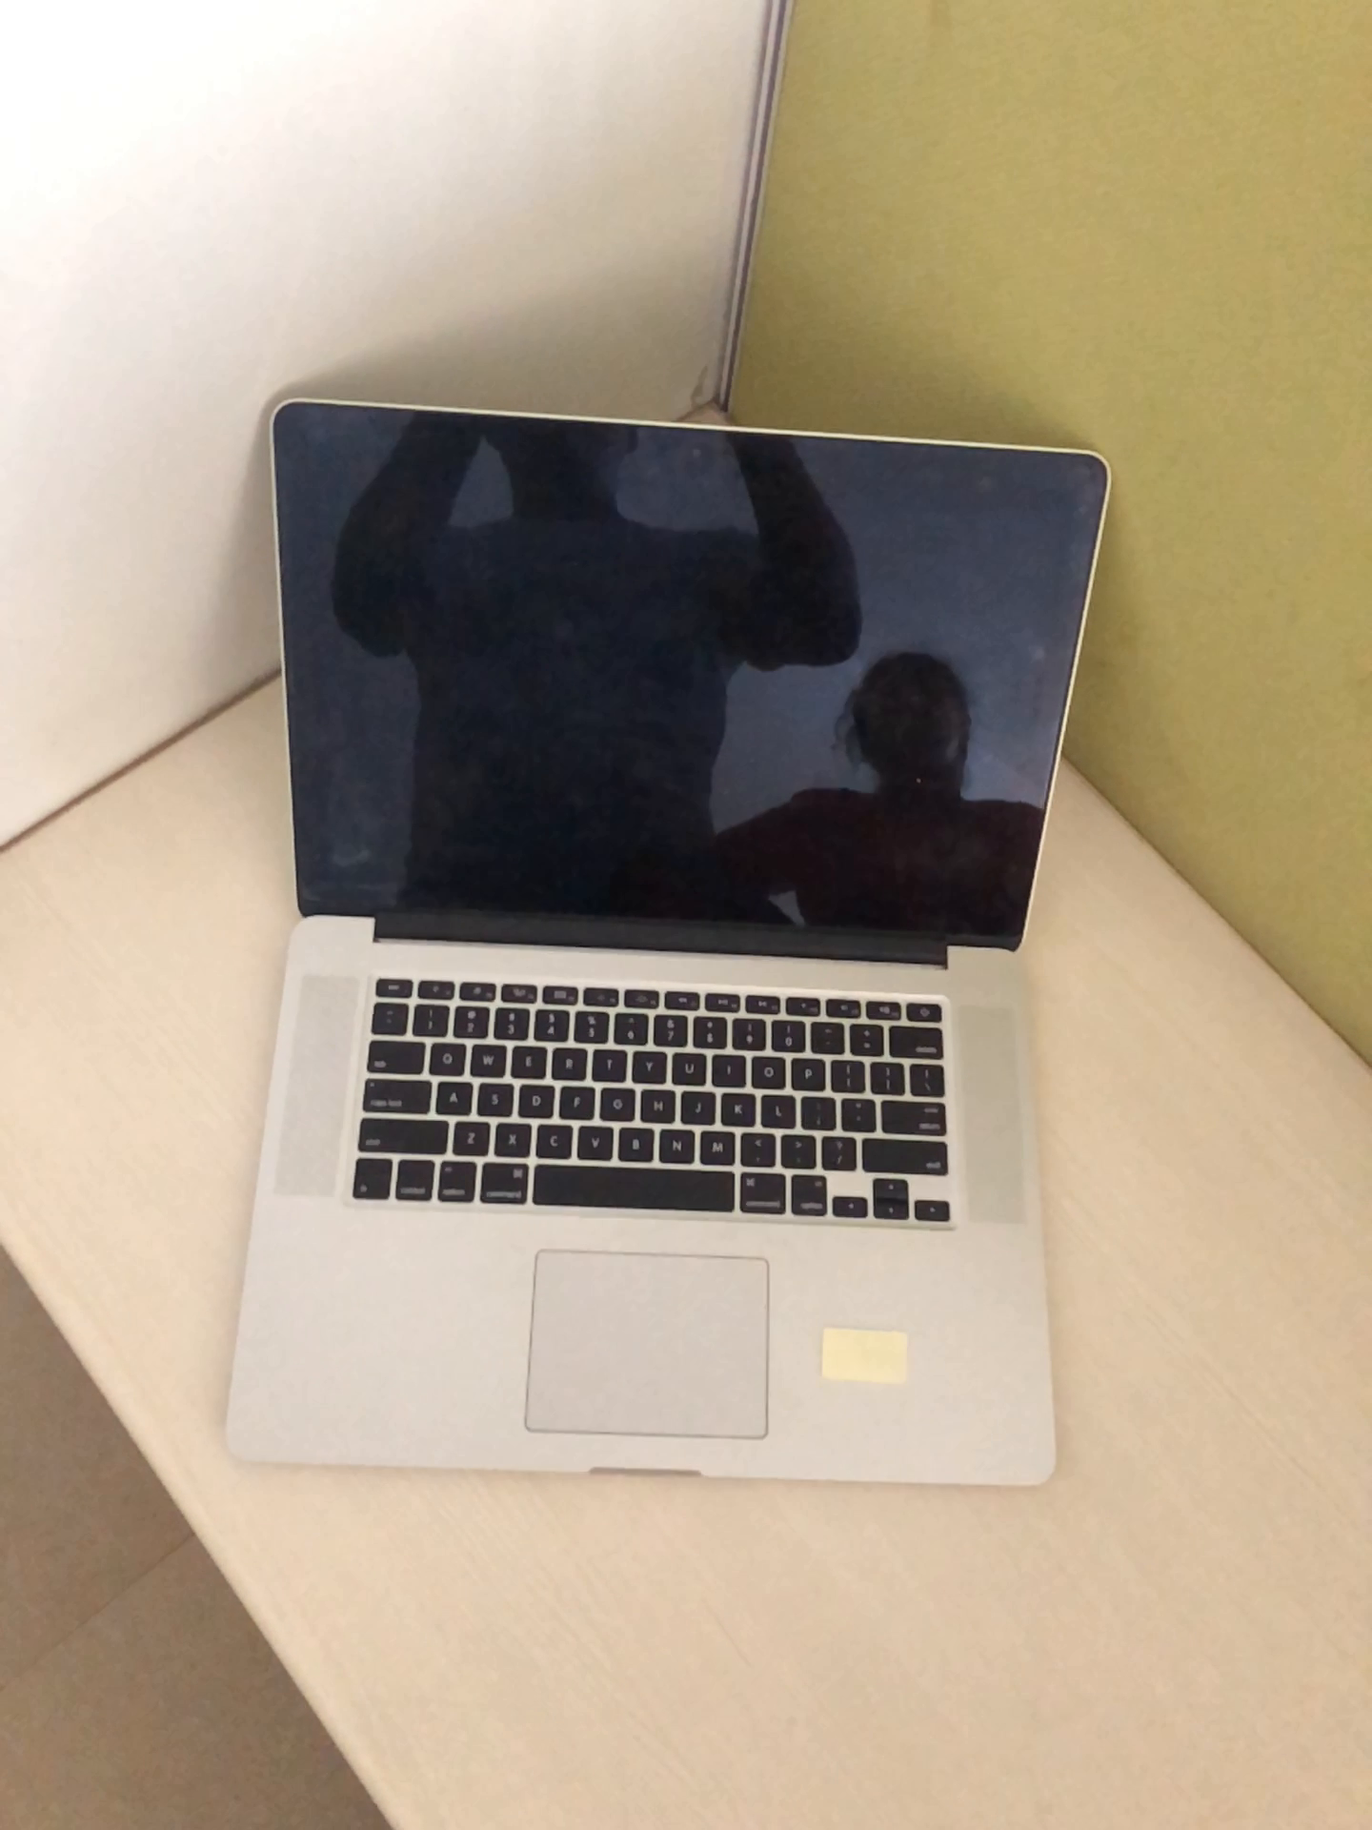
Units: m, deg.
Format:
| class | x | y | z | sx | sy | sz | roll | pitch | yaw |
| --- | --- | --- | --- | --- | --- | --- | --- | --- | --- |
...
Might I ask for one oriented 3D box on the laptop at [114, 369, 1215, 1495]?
| class | x | y | z | sx | sy | sz | roll | pitch | yaw |
| --- | --- | --- | --- | --- | --- | --- | --- | --- | --- |
| laptop | -0.006 | 0.014 | 0.613 | 0.345 | 0.164 | 0.404 | 3 | 70 | -4 |
